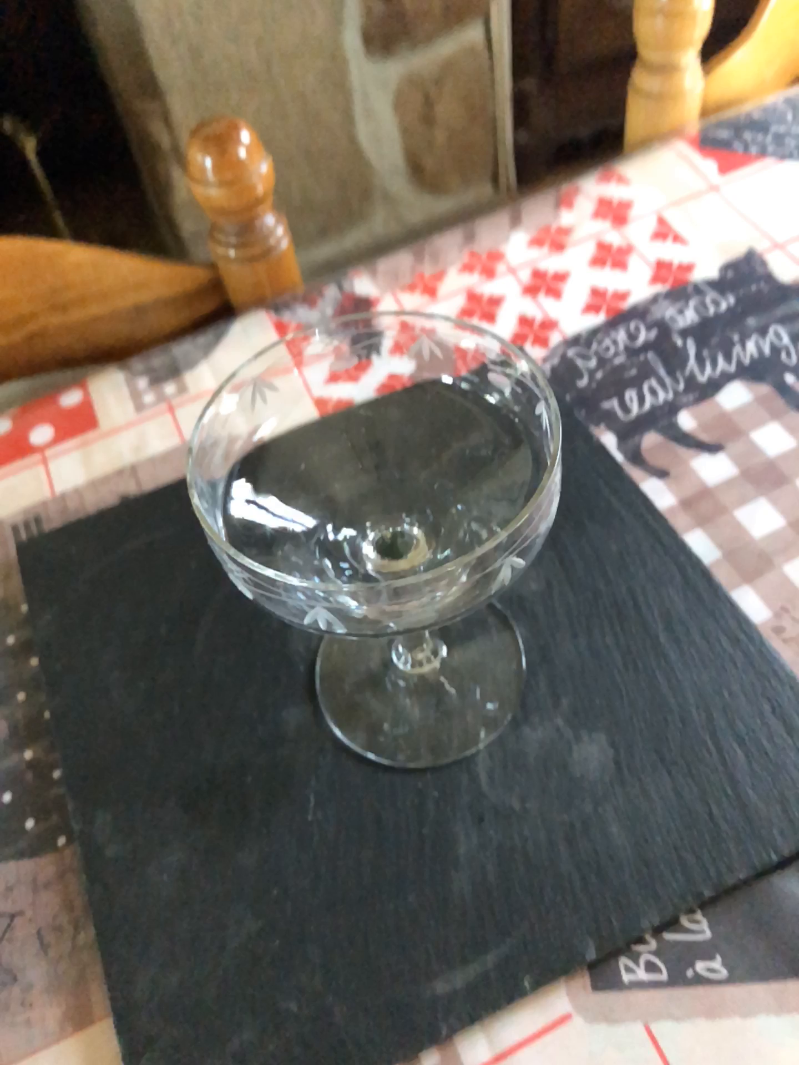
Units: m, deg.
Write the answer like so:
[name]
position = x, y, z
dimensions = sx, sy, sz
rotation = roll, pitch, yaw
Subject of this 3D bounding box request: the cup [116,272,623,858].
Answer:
[cup]
position = -0.004, 0.013, 0.263
dimensions = 0.090, 0.119, 0.090
rotation = -4, 52, 6
